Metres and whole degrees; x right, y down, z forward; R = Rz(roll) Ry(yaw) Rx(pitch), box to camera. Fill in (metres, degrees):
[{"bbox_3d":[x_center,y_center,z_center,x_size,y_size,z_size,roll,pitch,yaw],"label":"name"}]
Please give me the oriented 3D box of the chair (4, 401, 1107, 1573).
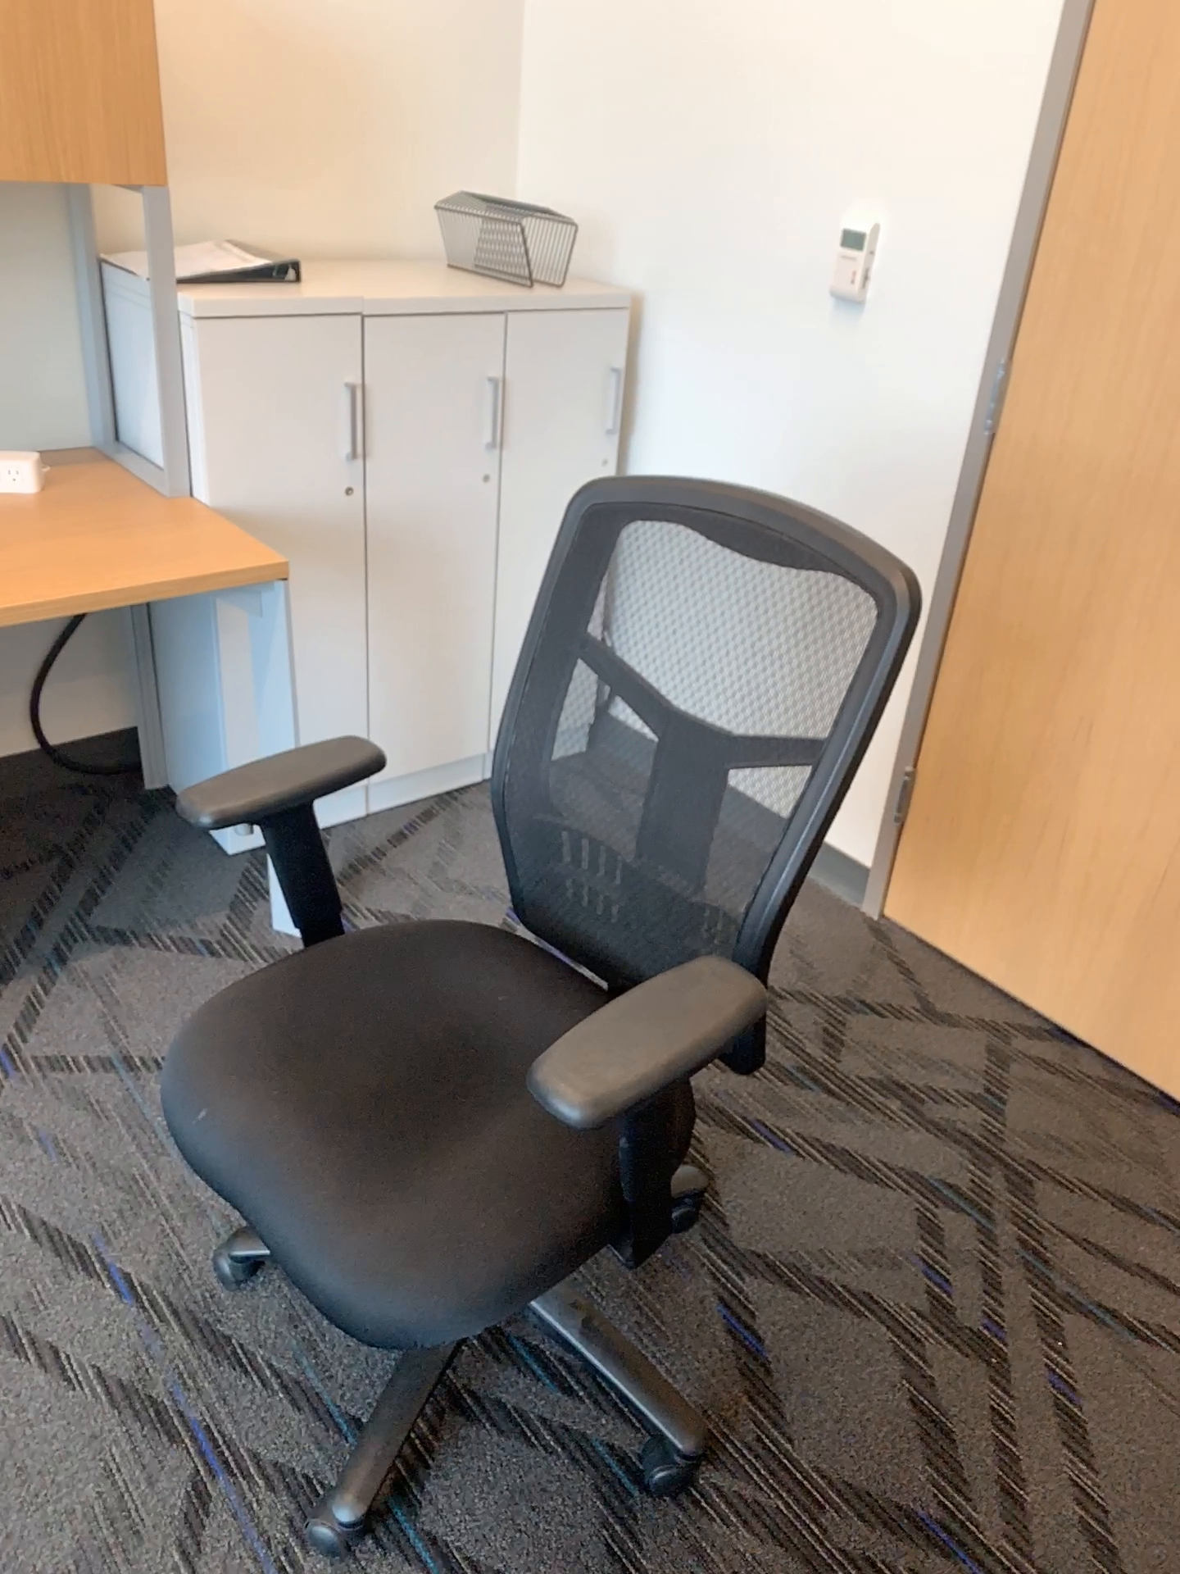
[{"bbox_3d":[-0.072,0.187,1.299,0.722,0.992,0.663,-18,35,-36],"label":"chair"}]
